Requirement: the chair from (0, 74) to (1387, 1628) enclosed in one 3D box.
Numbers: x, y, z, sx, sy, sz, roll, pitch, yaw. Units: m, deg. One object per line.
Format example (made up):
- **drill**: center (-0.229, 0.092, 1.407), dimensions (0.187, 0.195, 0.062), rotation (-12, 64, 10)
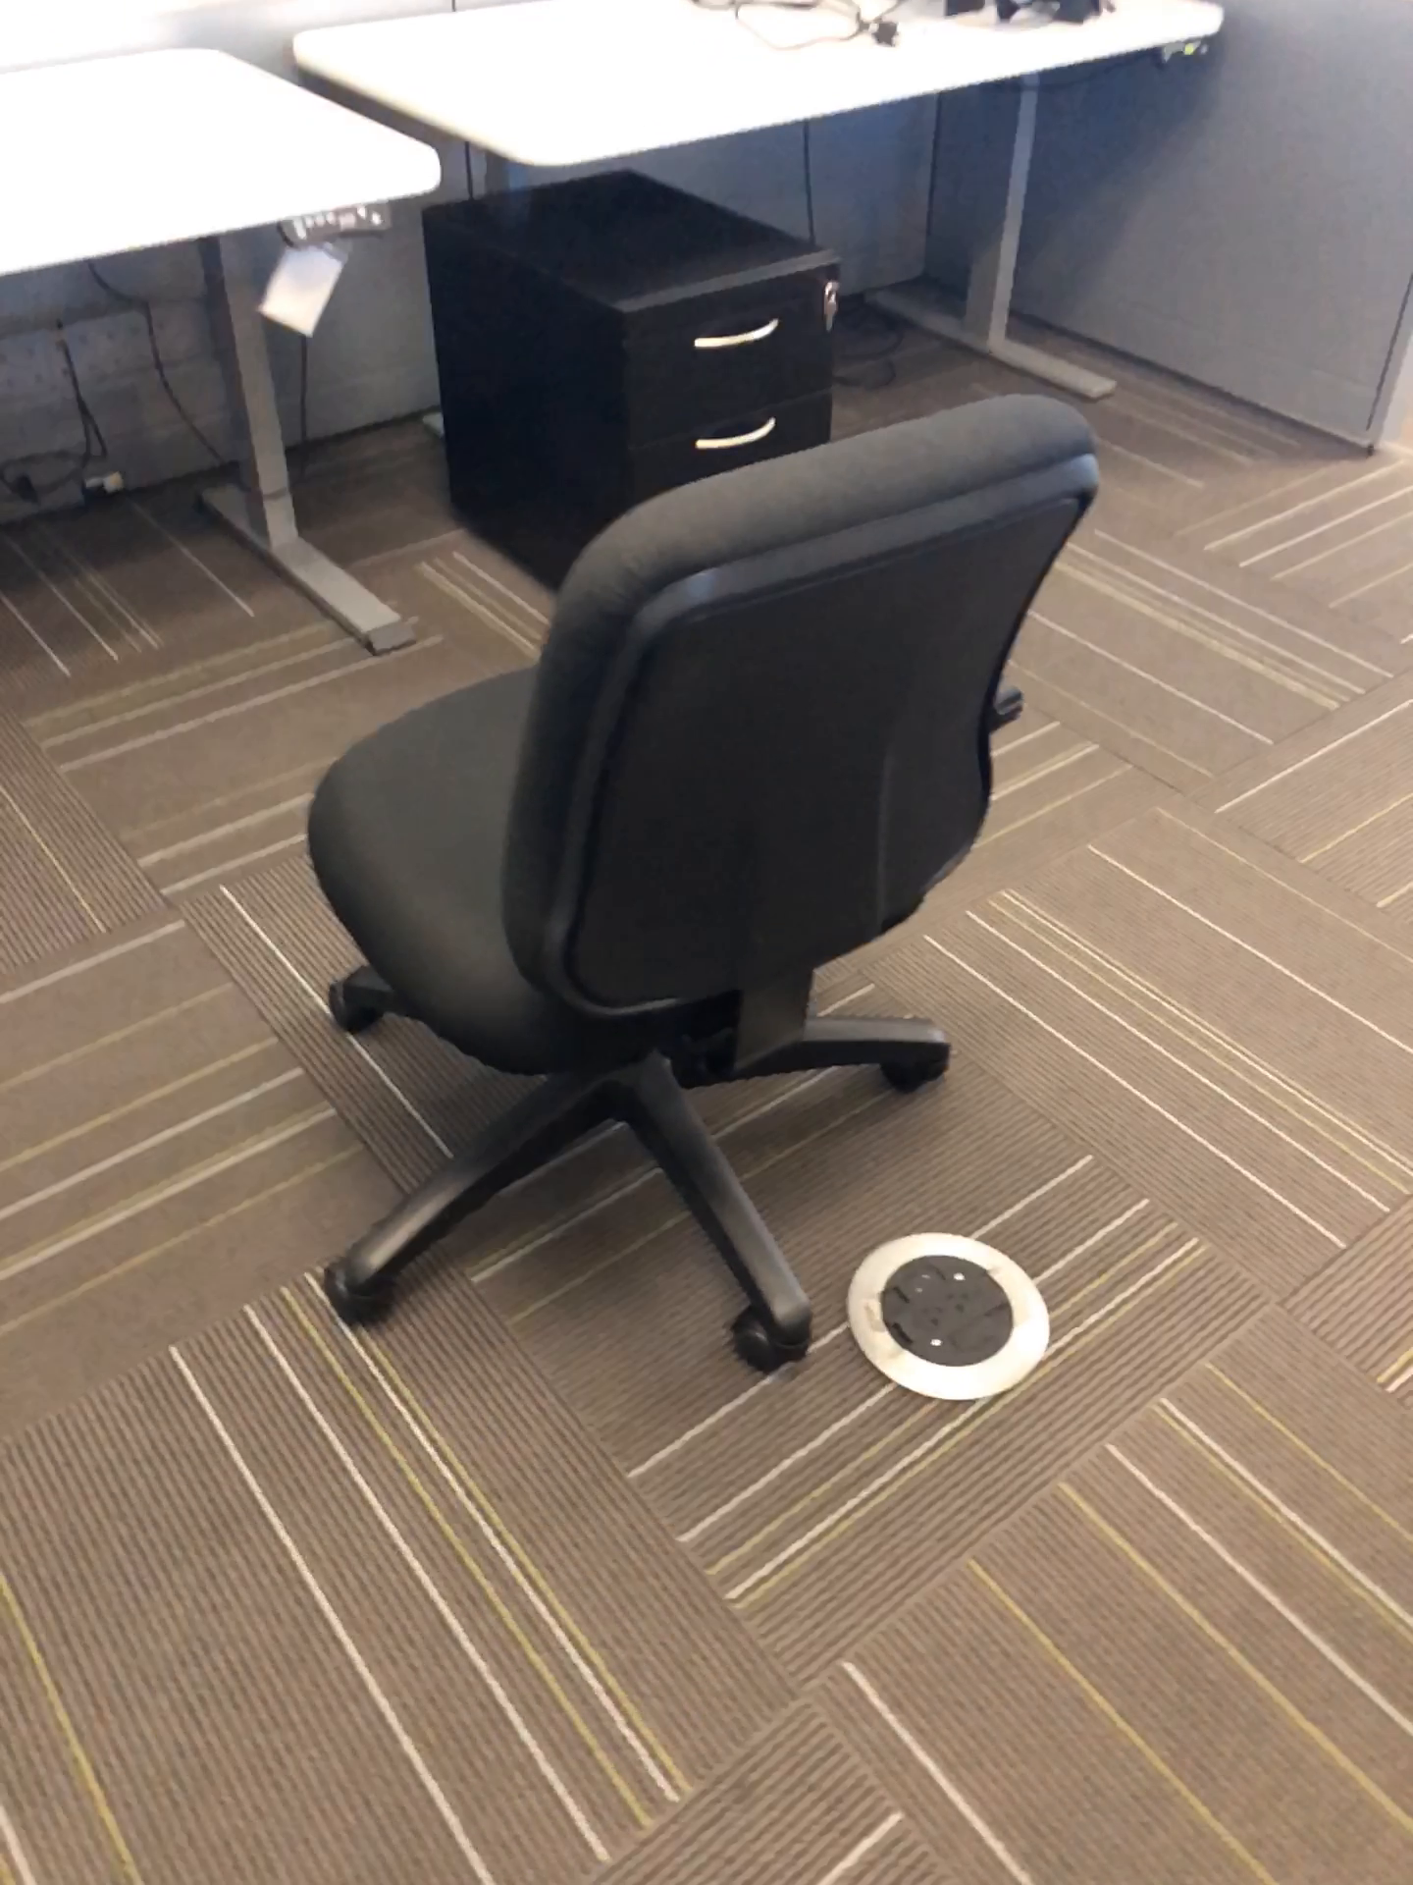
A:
- **chair**: center (-0.098, -0.146, 1.332), dimensions (0.771, 0.846, 0.763), rotation (-27, 48, -28)
